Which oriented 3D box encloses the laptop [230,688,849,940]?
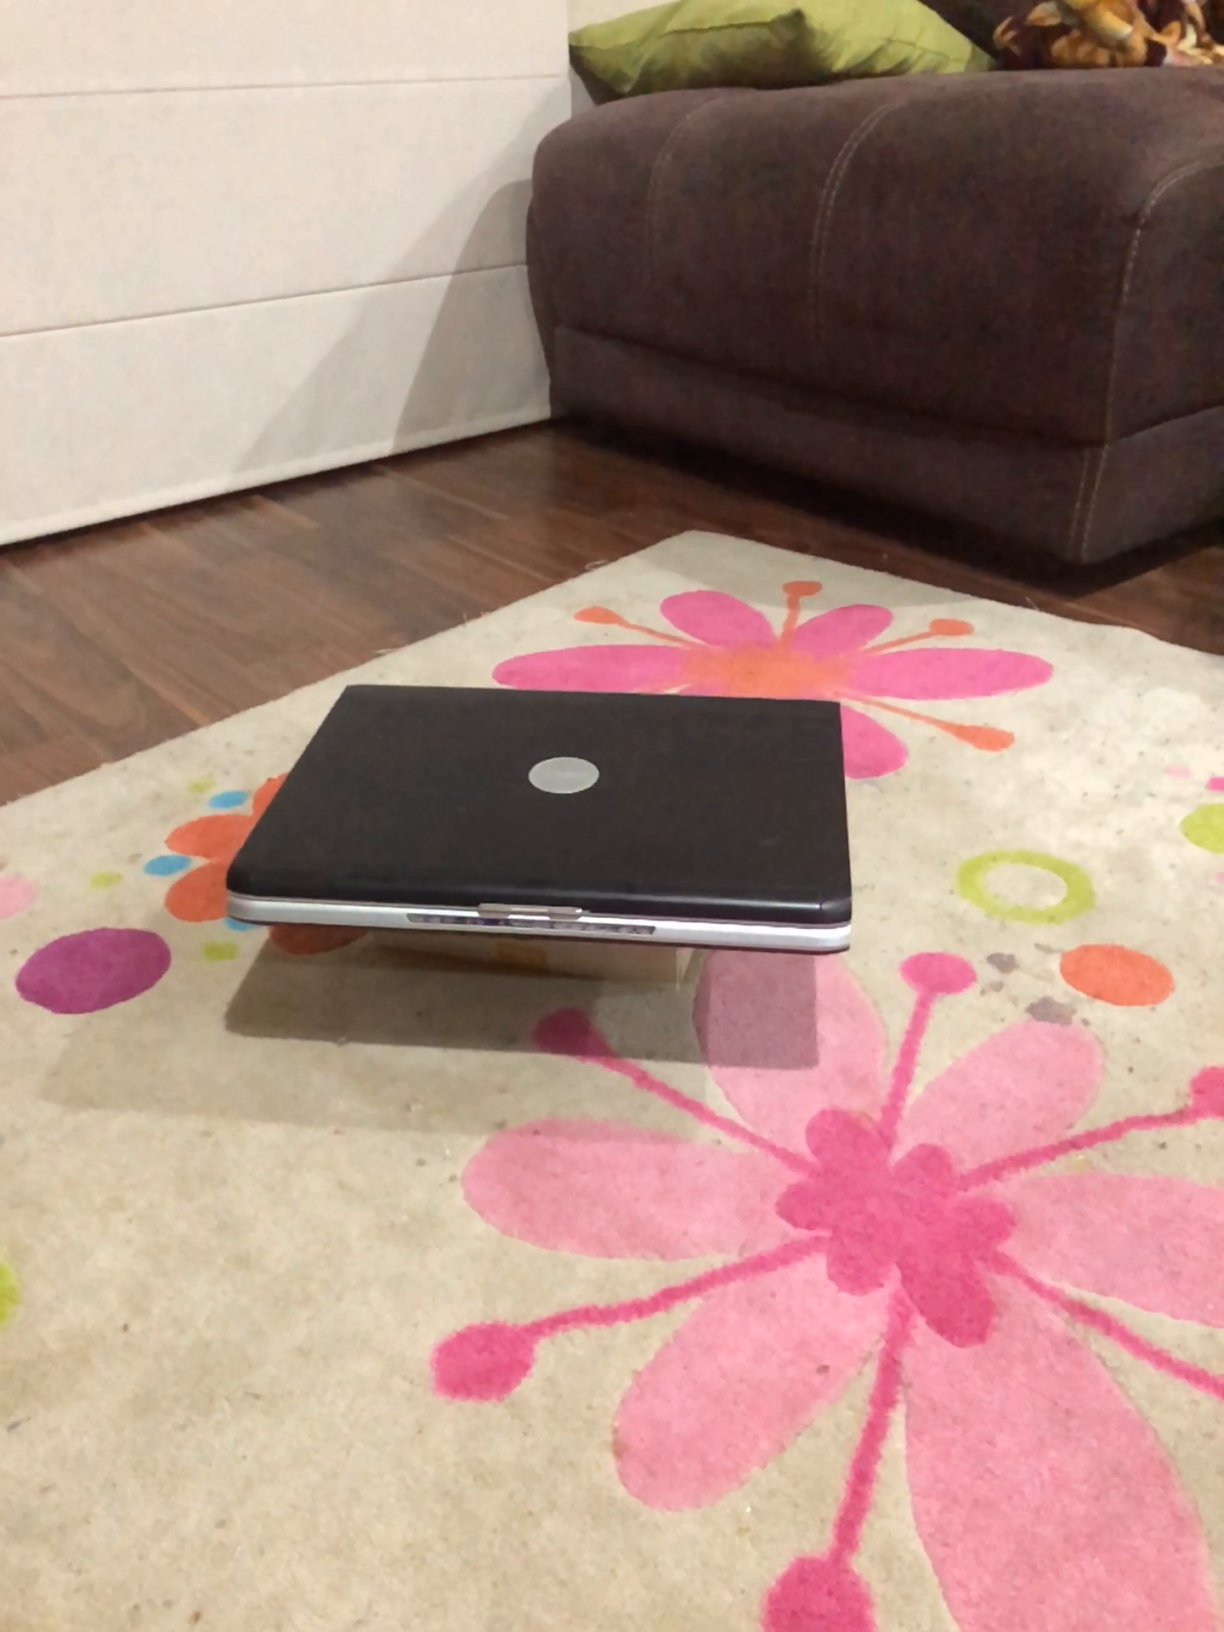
[{"bbox_3d":[-0.032,-0.013,0.845,0.353,0.015,0.233,2,35,10],"label":"laptop"}]
